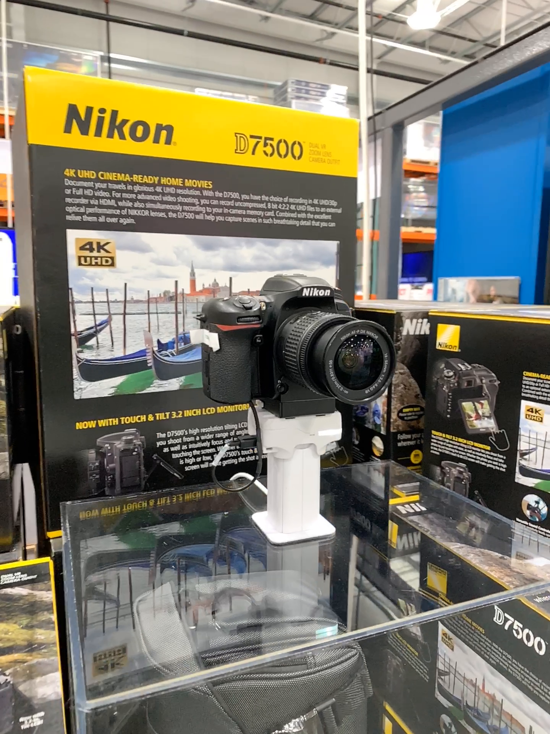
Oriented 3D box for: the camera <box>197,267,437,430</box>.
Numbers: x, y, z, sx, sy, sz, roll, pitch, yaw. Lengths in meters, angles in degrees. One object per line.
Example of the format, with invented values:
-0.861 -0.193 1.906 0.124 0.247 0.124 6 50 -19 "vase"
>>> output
0.029 -0.022 0.460 0.160 0.110 0.110 -3 8 -23 "camera"
